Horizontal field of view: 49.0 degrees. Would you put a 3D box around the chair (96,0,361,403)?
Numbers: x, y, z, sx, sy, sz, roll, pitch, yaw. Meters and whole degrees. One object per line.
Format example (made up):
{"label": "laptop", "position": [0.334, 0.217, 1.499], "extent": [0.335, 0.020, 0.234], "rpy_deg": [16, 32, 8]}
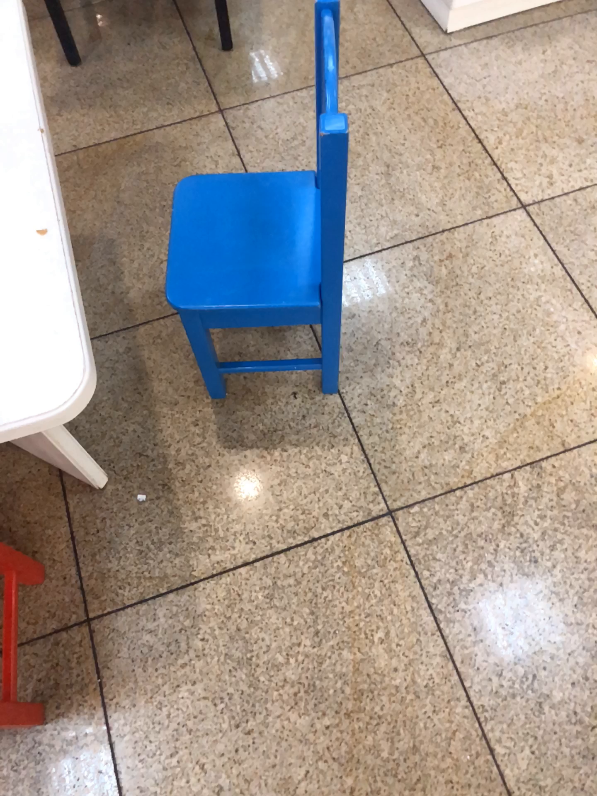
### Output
{"label": "chair", "position": [-0.073, -0.275, 1.091], "extent": [0.300, 0.639, 0.300], "rpy_deg": [-3, 63, 1]}
